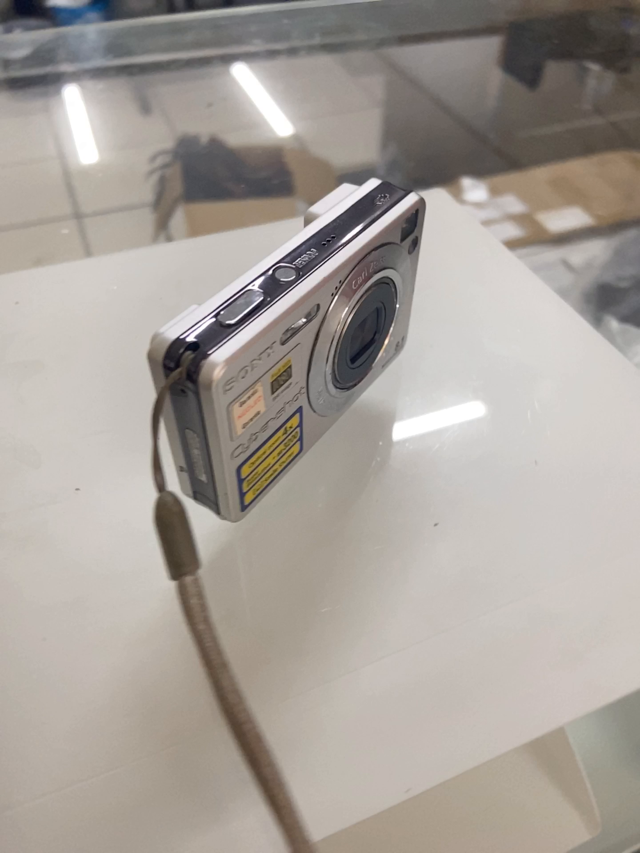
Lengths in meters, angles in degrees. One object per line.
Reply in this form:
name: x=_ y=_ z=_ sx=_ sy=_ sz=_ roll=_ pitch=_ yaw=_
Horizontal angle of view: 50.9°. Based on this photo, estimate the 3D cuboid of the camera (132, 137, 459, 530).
camera: x=-0.001 y=-0.028 z=0.180 sx=0.030 sy=0.060 sz=0.090 roll=27 pitch=53 yaw=22
